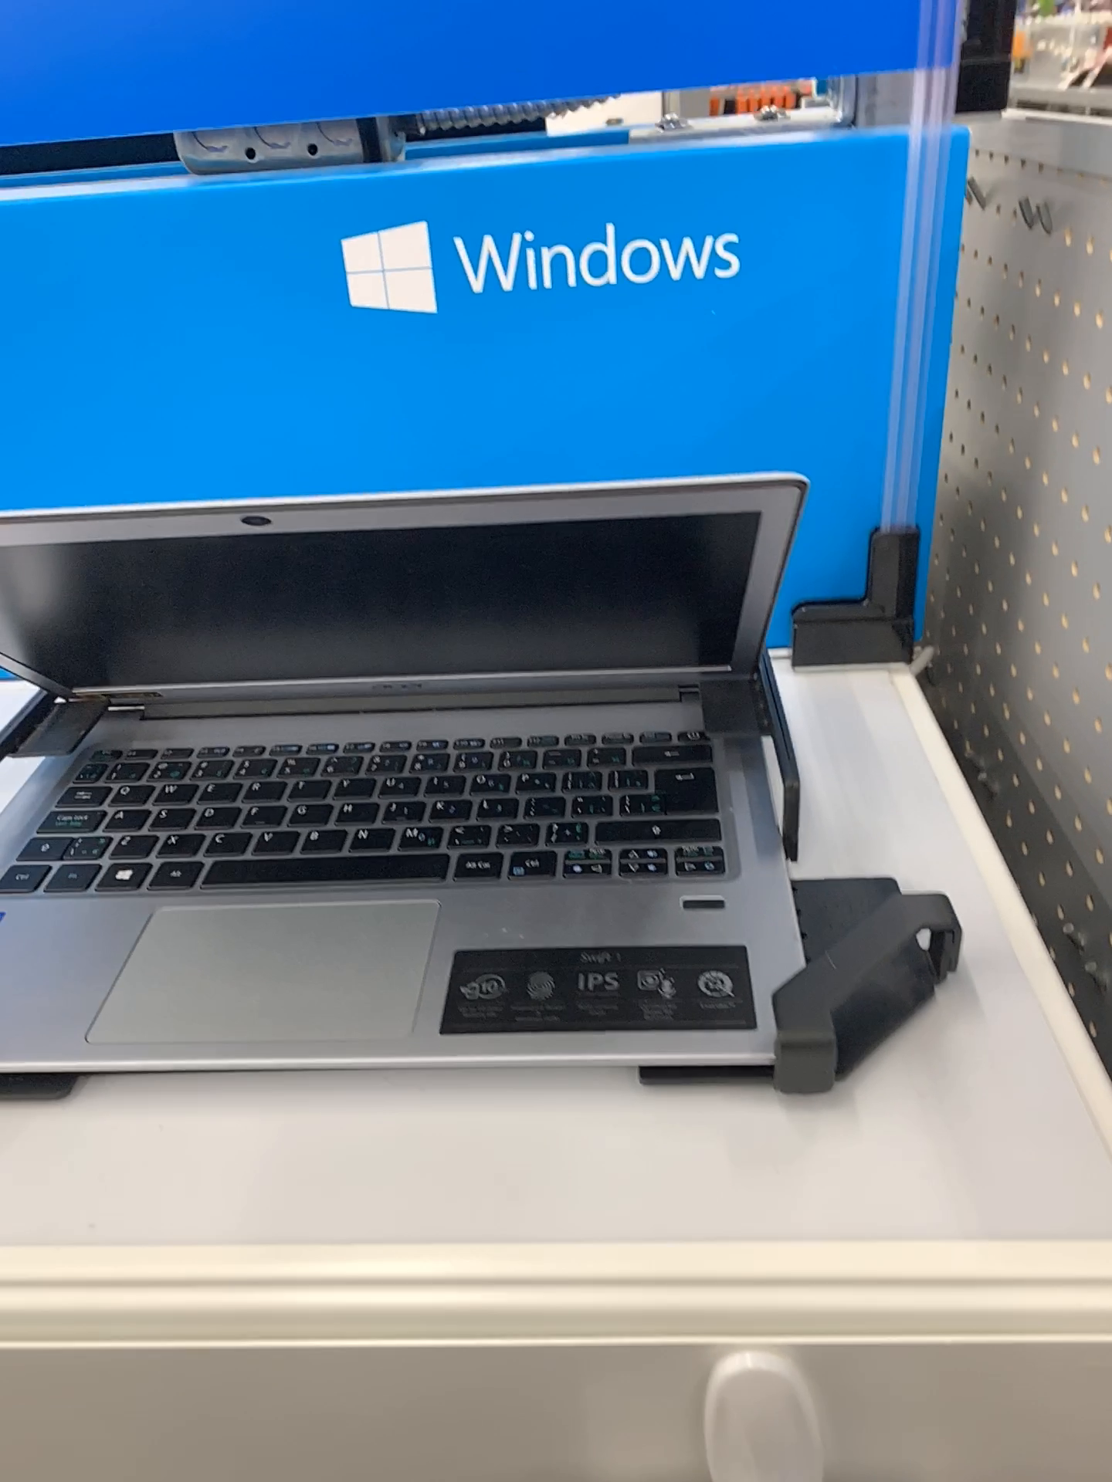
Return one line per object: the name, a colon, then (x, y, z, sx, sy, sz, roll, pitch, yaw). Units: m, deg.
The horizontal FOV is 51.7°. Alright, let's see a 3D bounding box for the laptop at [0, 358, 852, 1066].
laptop: (-0.078, -0.023, 0.387, 0.305, 0.141, 0.214, -2, 30, 5)
